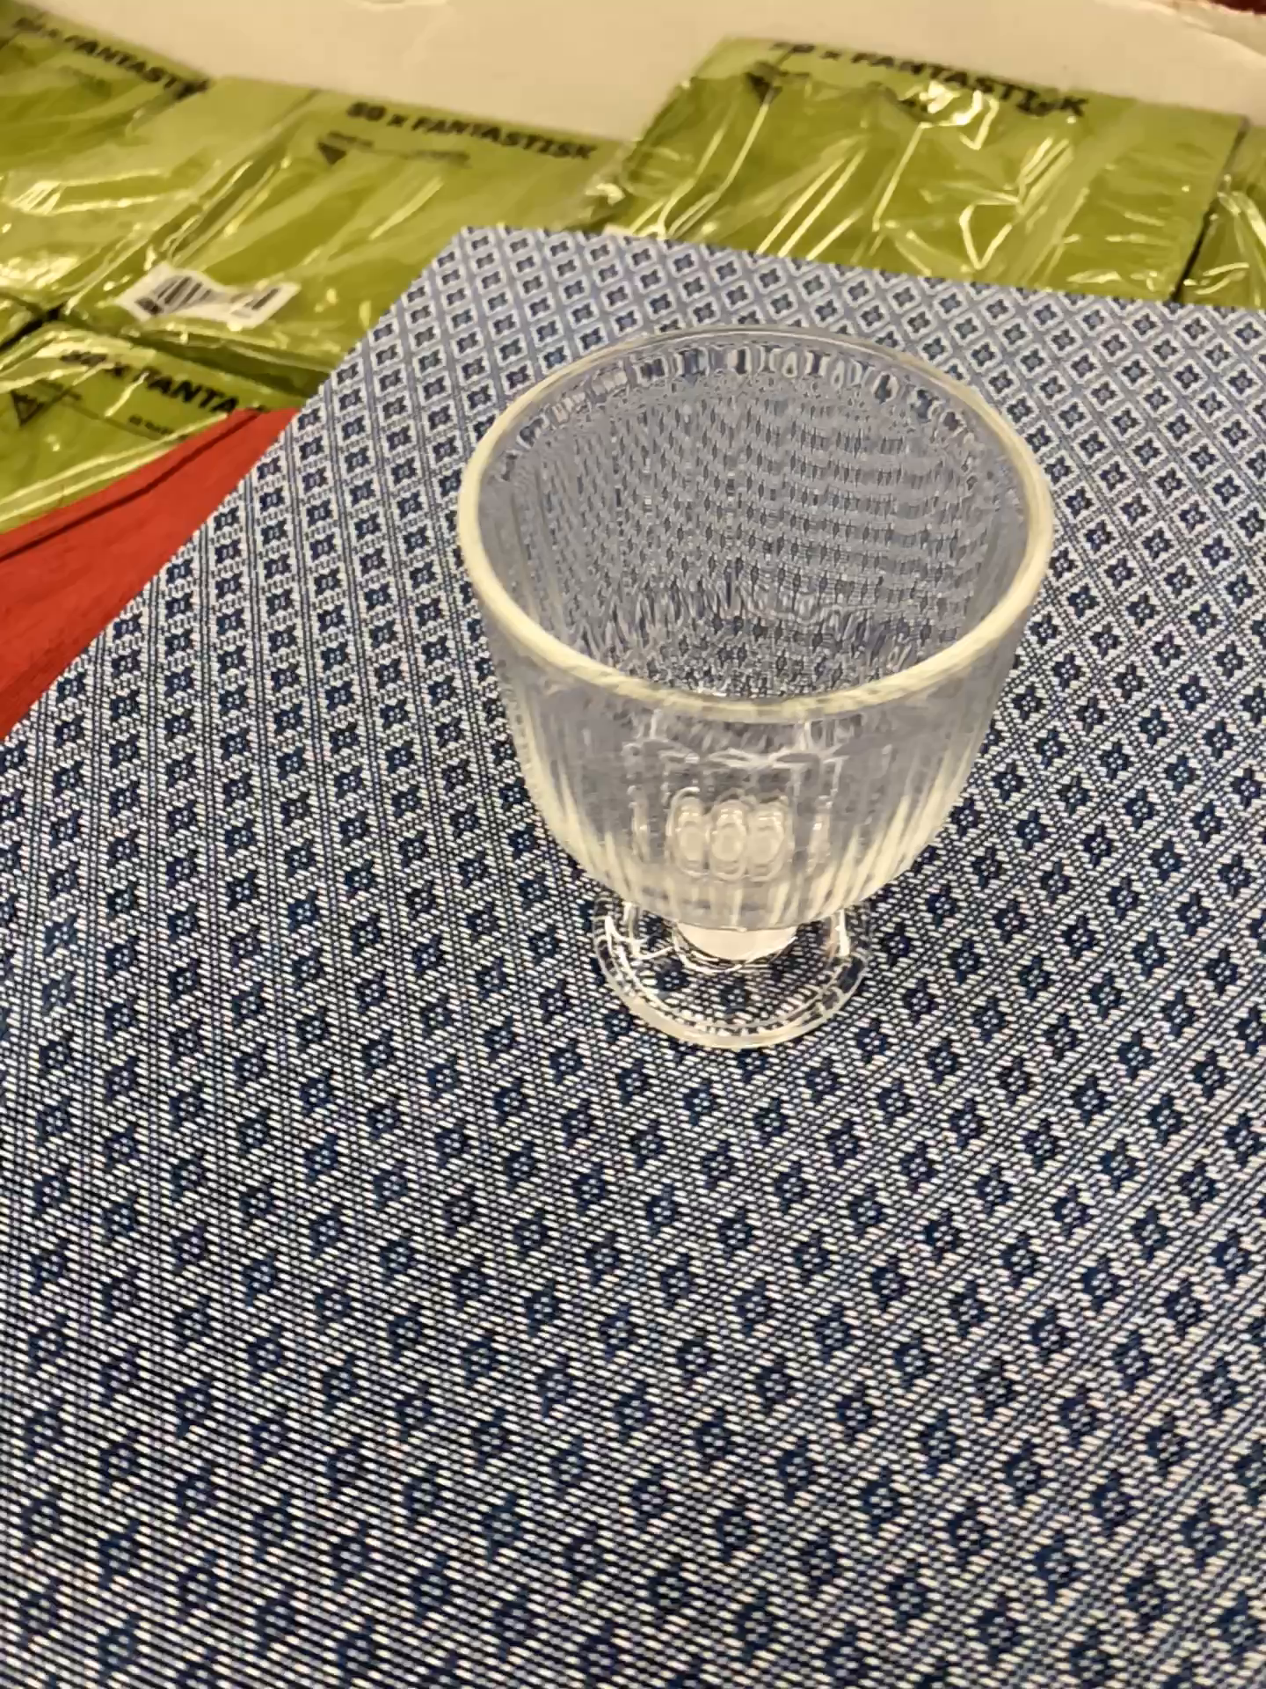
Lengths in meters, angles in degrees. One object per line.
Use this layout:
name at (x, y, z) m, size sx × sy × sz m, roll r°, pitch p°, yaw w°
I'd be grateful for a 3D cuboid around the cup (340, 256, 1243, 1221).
cup at (0.028, -0.020, 0.260) m, size 0.100 × 0.110 × 0.100 m, roll -1°, pitch 51°, yaw 2°
